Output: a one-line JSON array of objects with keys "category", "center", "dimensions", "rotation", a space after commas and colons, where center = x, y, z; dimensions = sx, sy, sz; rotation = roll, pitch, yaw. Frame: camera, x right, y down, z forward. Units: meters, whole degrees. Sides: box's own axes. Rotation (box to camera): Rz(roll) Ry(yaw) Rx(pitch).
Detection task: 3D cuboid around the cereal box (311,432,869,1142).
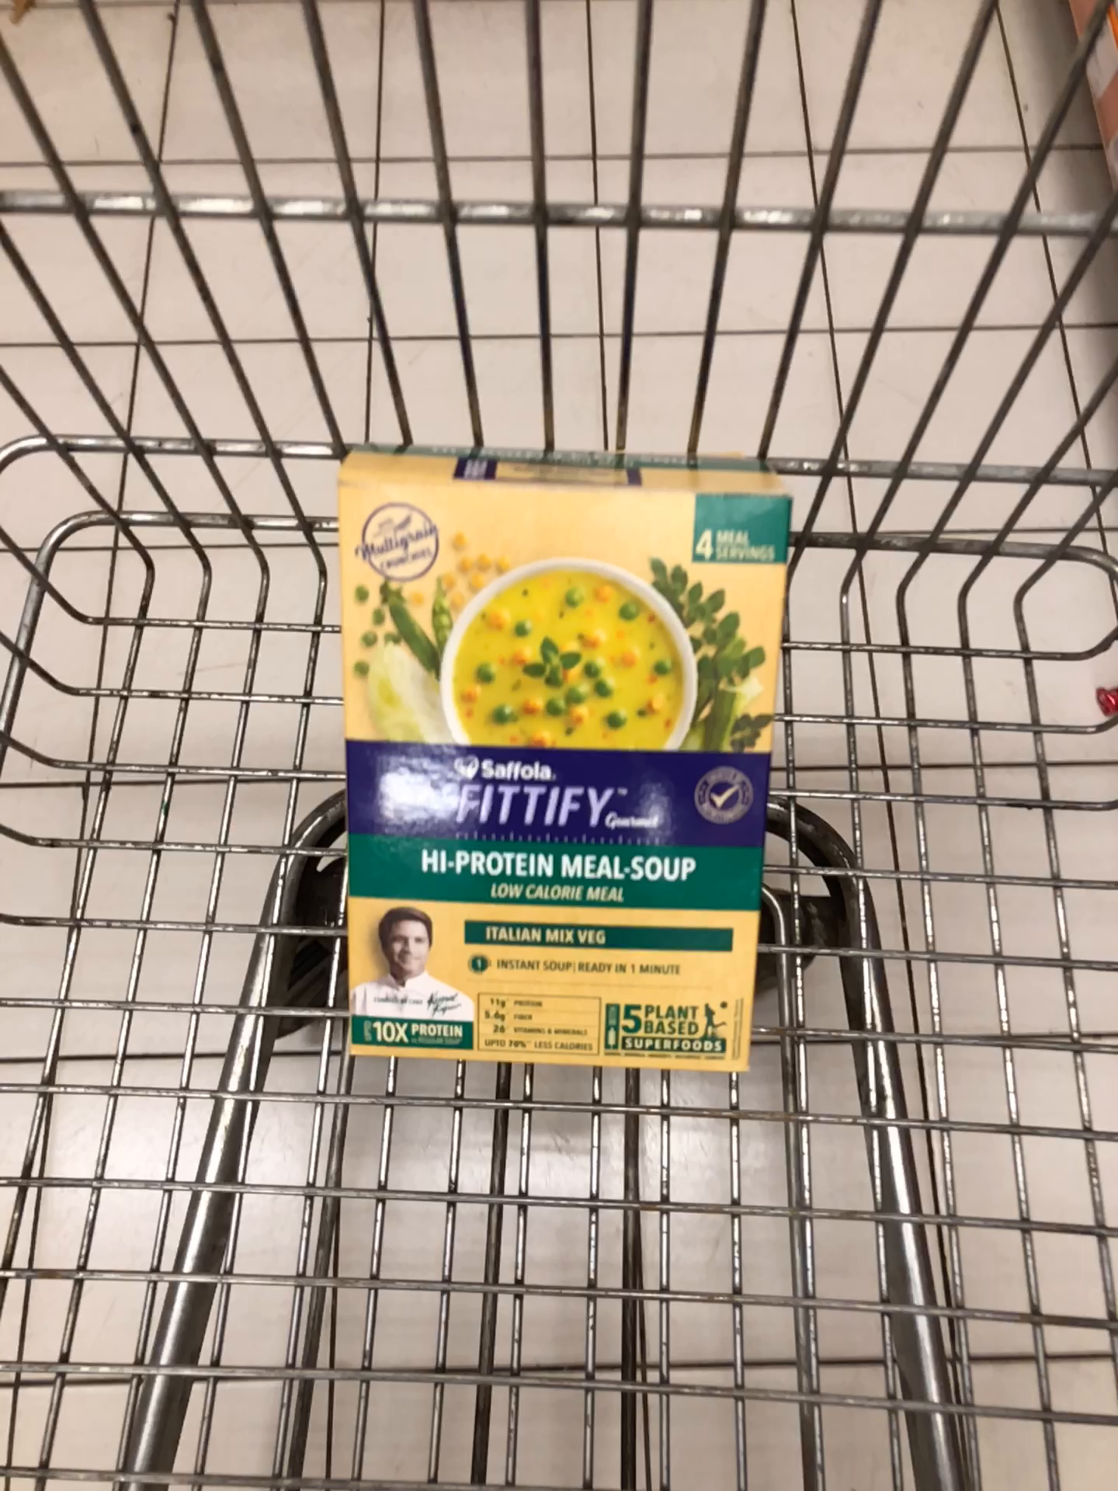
[{"category": "cereal box", "center": [0.005, 0.006, 0.353], "dimensions": [0.130, 0.090, 0.180], "rotation": [2, 105, 1]}]
